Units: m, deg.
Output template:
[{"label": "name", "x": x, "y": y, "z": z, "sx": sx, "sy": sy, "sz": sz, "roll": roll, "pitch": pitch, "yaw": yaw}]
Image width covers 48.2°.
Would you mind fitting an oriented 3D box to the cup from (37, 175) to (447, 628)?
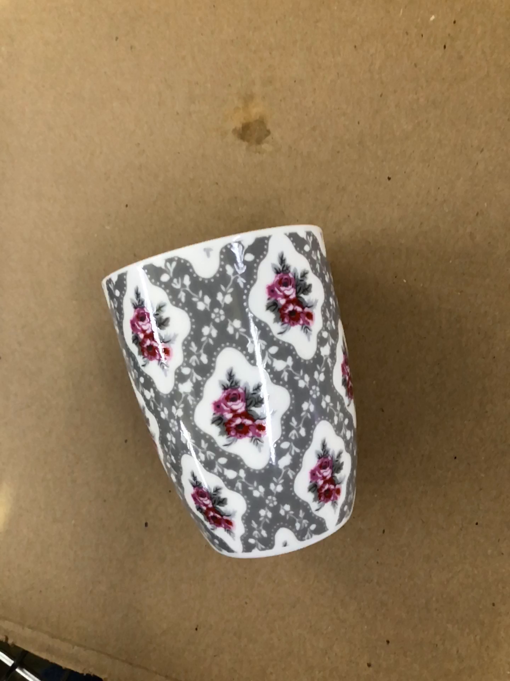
[{"label": "cup", "x": -0.010, "y": 0.014, "z": 0.200, "sx": 0.100, "sy": 0.080, "sz": 0.110, "roll": 20, "pitch": 115, "yaw": 49}]
